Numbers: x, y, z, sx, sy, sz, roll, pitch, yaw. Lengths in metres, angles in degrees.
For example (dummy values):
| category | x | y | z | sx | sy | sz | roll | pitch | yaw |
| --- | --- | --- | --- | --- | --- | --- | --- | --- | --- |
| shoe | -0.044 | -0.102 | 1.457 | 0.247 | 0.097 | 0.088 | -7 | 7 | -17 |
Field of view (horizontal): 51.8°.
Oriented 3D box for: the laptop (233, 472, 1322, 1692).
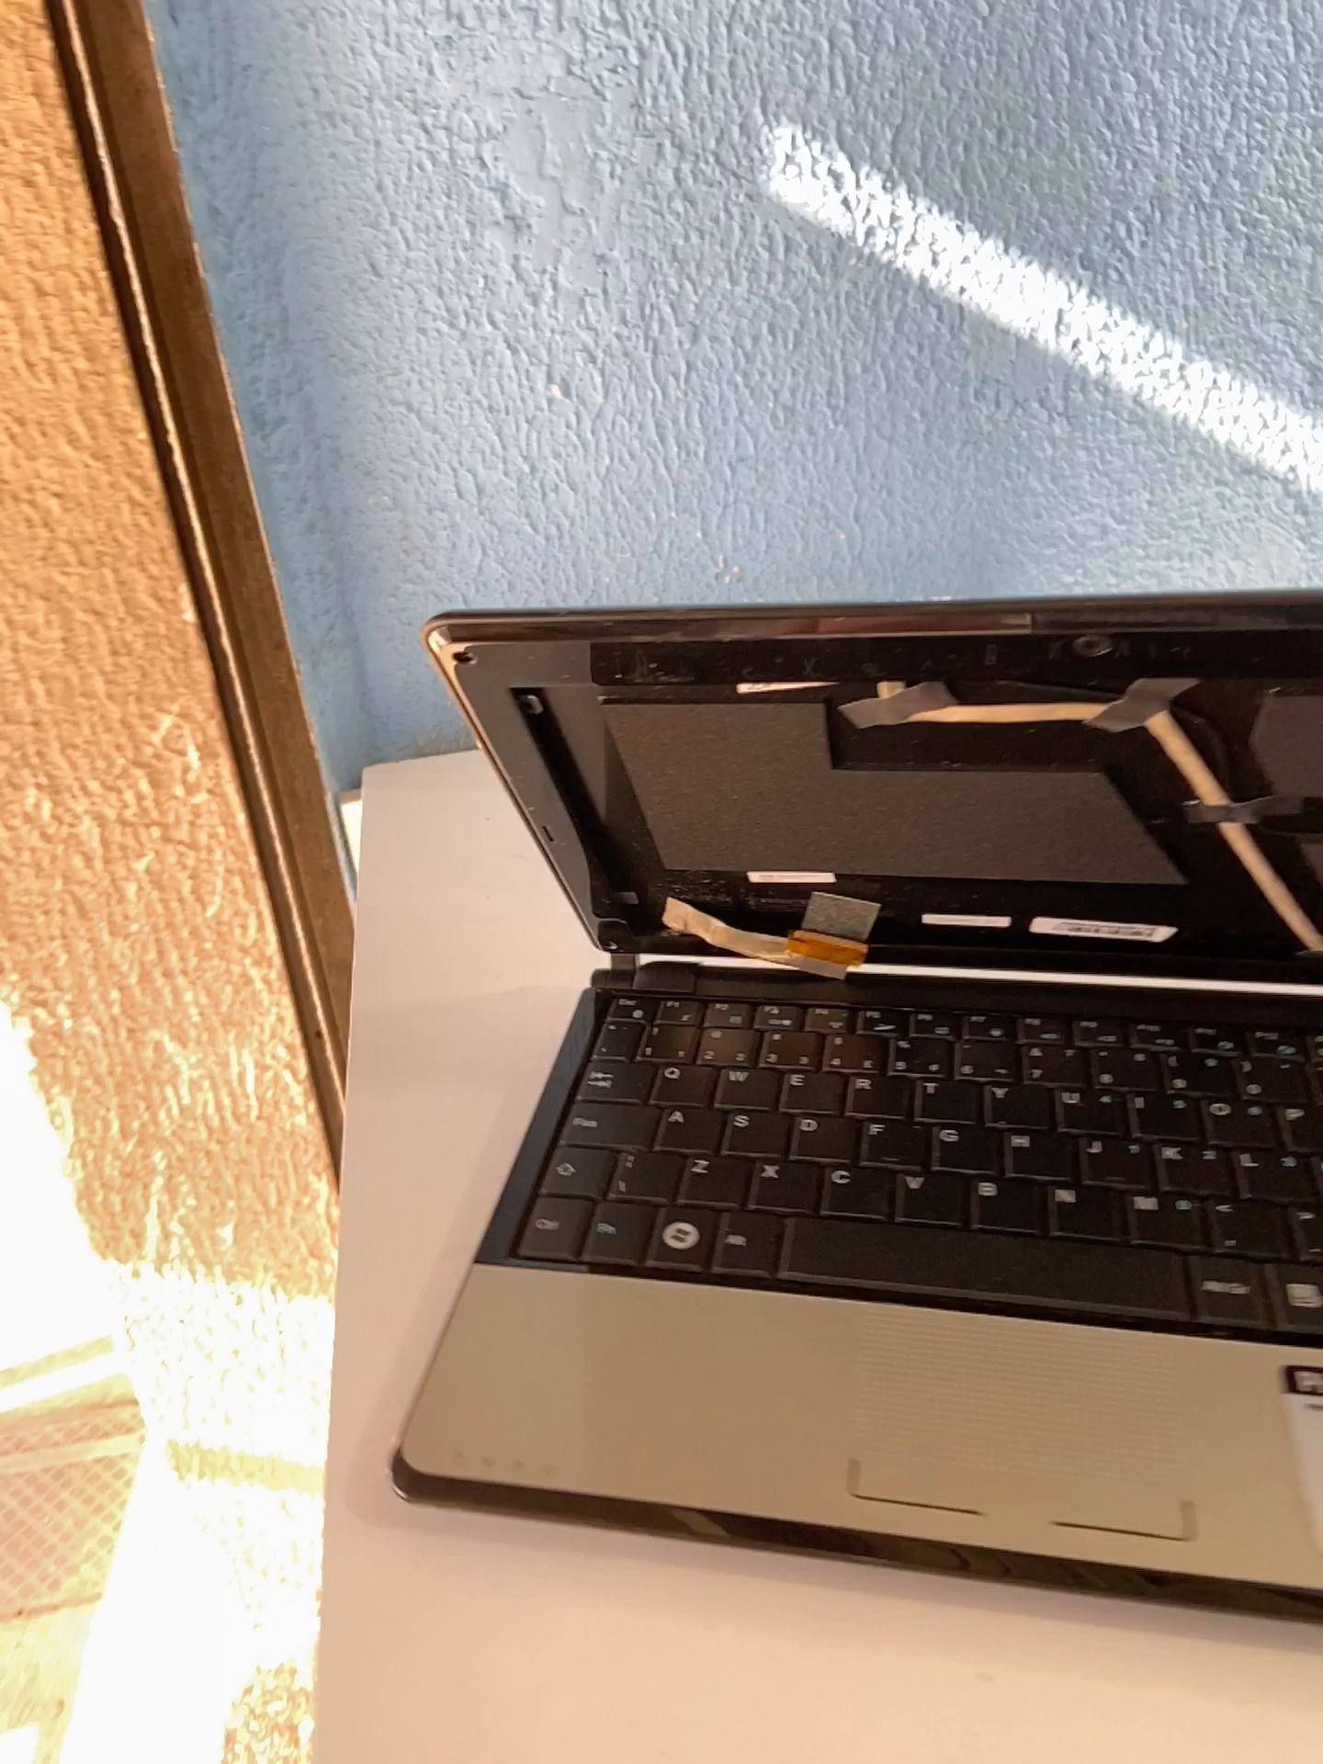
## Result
| category | x | y | z | sx | sy | sz | roll | pitch | yaw |
| --- | --- | --- | --- | --- | --- | --- | --- | --- | --- |
| laptop | 0.088 | 0.018 | 0.295 | 0.275 | 0.144 | 0.177 | 1 | 31 | 13 |
